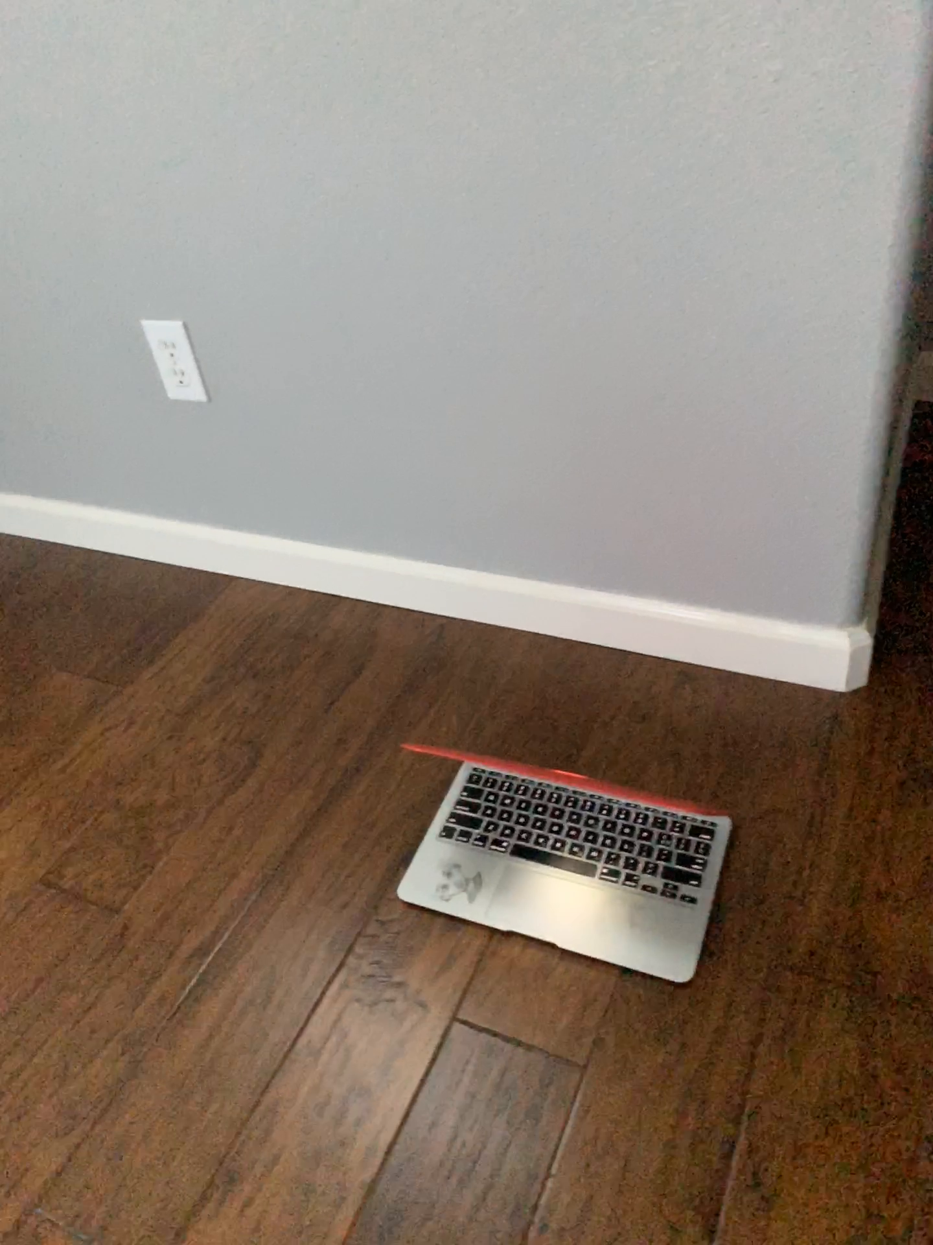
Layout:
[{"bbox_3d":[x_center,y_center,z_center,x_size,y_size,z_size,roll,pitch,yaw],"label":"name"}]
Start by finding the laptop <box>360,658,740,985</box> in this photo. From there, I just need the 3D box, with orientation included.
[{"bbox_3d":[0.089,0.177,0.912,0.301,0.139,0.199,9,42,23],"label":"laptop"}]
